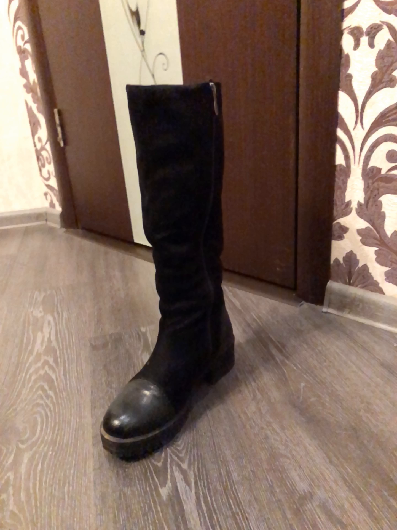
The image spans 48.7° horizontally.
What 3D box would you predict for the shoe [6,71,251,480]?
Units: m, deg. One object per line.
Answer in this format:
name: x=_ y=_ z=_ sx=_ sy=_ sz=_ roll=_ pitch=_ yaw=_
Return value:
shoe: x=-0.044 y=-0.005 z=0.530 sx=0.100 sy=0.408 sz=0.251 roll=9 pitch=26 yaw=32
